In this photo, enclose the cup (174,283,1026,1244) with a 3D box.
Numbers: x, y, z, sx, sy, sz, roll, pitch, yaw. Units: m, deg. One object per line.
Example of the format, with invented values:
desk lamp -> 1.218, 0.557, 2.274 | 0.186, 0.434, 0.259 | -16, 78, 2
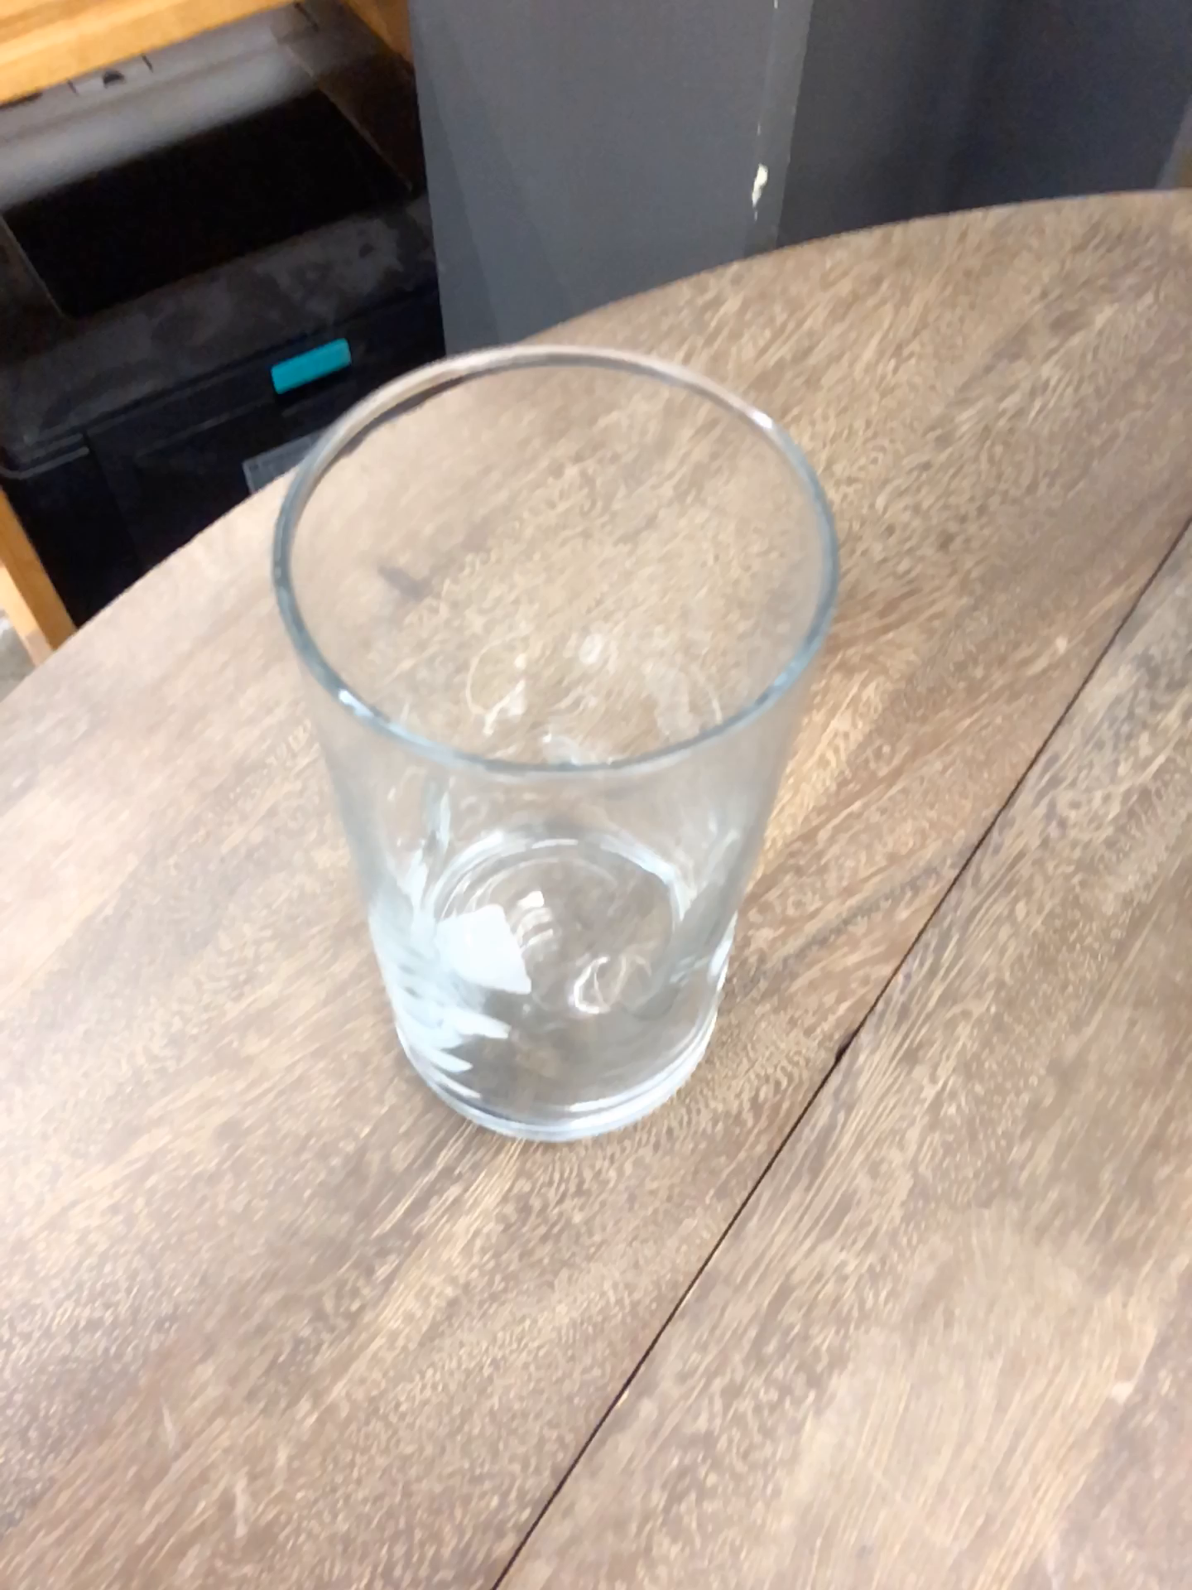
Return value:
cup -> -0.003, 0.007, 0.230 | 0.081, 0.144, 0.078 | 1, 59, -1
